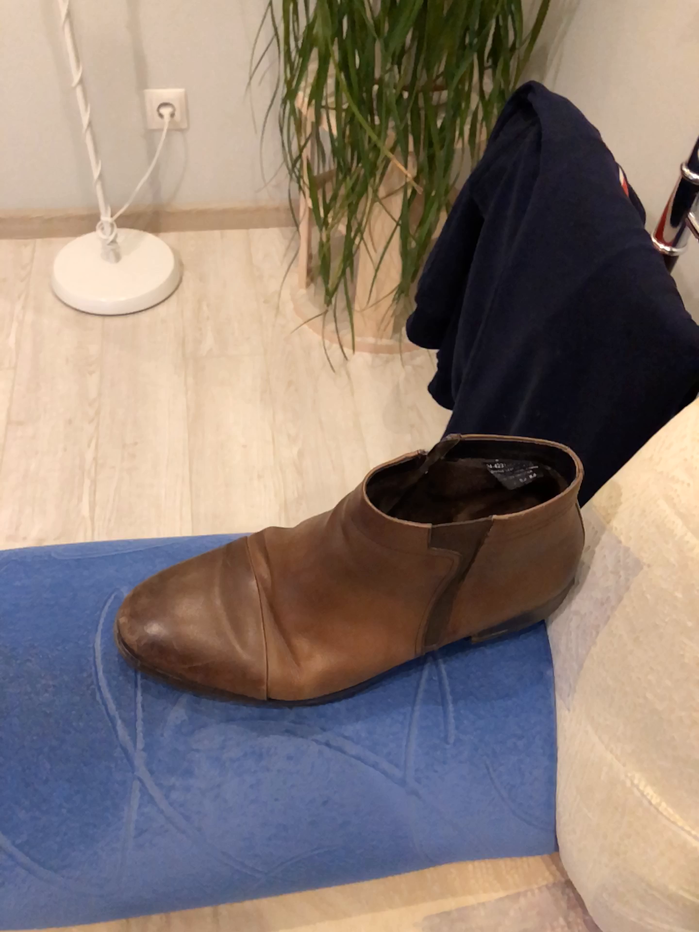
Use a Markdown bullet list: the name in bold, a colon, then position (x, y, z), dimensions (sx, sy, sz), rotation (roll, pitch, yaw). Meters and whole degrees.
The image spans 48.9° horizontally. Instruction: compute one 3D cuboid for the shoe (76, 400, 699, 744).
- **shoe**: position (0.015, 0.061, 0.456), dimensions (0.310, 0.139, 0.111), rotation (-5, 51, -11)
